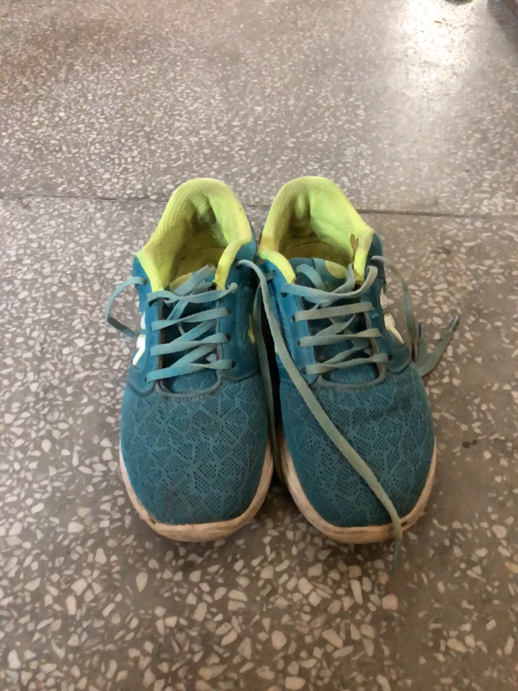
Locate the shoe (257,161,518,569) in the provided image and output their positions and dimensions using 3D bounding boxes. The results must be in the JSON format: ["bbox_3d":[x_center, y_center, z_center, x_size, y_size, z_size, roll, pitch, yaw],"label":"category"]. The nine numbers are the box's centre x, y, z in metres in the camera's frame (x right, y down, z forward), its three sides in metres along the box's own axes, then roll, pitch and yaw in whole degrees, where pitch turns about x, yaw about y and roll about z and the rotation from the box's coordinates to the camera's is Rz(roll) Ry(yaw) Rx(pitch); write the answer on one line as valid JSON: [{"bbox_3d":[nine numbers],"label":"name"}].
[{"bbox_3d":[0.055,-0.002,0.341,0.094,0.088,0.230,-5,50,1],"label":"shoe"}]

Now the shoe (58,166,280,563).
[{"bbox_3d":[-0.039,-0.001,0.352,0.091,0.091,0.231,-3,50,2],"label":"shoe"}]
